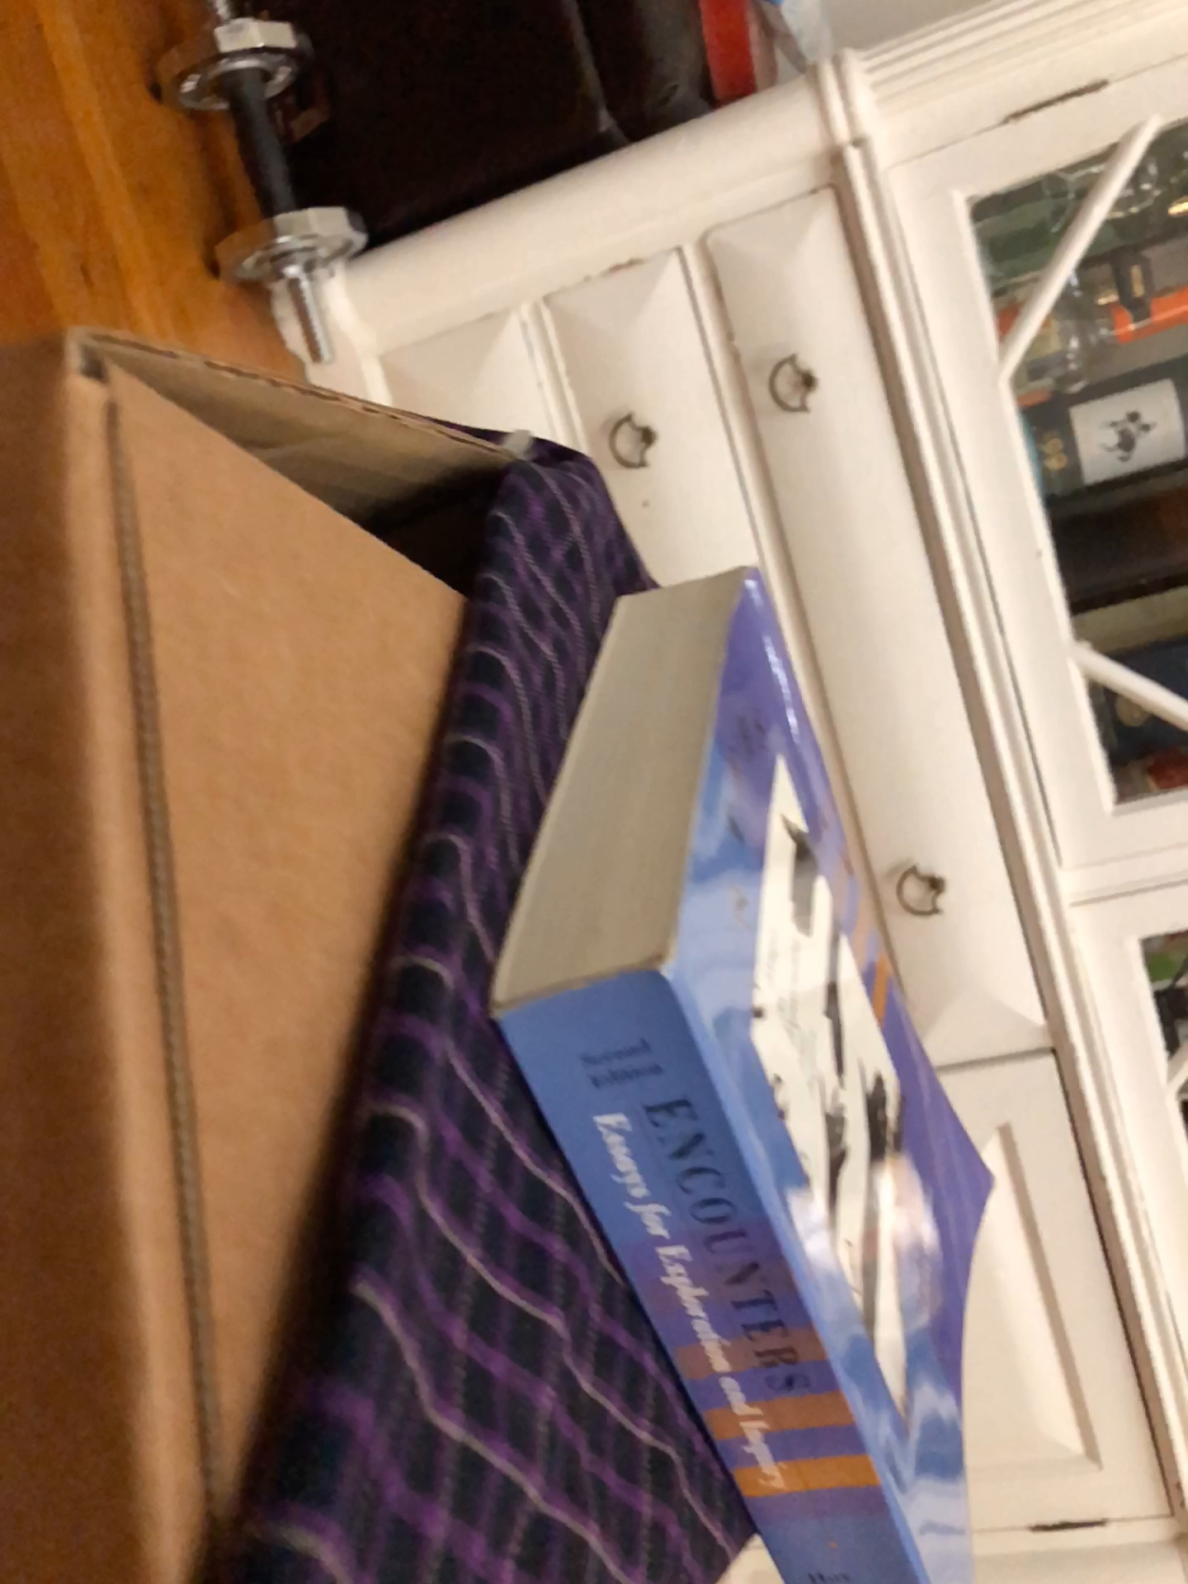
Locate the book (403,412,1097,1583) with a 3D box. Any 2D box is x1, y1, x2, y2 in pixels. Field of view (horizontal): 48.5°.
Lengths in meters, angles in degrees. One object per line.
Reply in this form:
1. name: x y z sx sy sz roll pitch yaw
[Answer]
1. book: 0.056 0.072 0.308 0.201 0.040 0.260 -77 148 -54
